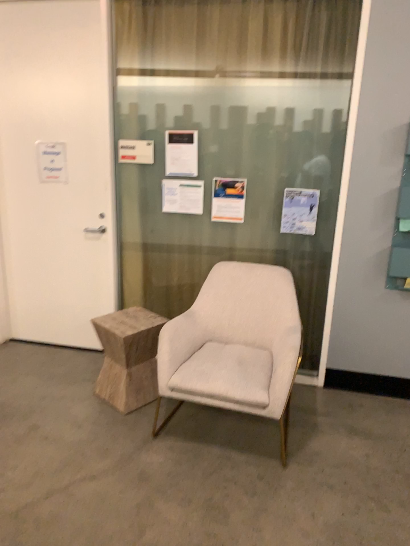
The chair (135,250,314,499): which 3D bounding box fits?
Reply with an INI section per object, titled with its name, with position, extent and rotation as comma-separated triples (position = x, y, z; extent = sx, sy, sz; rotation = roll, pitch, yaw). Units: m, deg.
[chair]
position = 0.151, 0.451, 2.315
extent = 0.780, 0.926, 0.873
rotation = 6, 16, 13
